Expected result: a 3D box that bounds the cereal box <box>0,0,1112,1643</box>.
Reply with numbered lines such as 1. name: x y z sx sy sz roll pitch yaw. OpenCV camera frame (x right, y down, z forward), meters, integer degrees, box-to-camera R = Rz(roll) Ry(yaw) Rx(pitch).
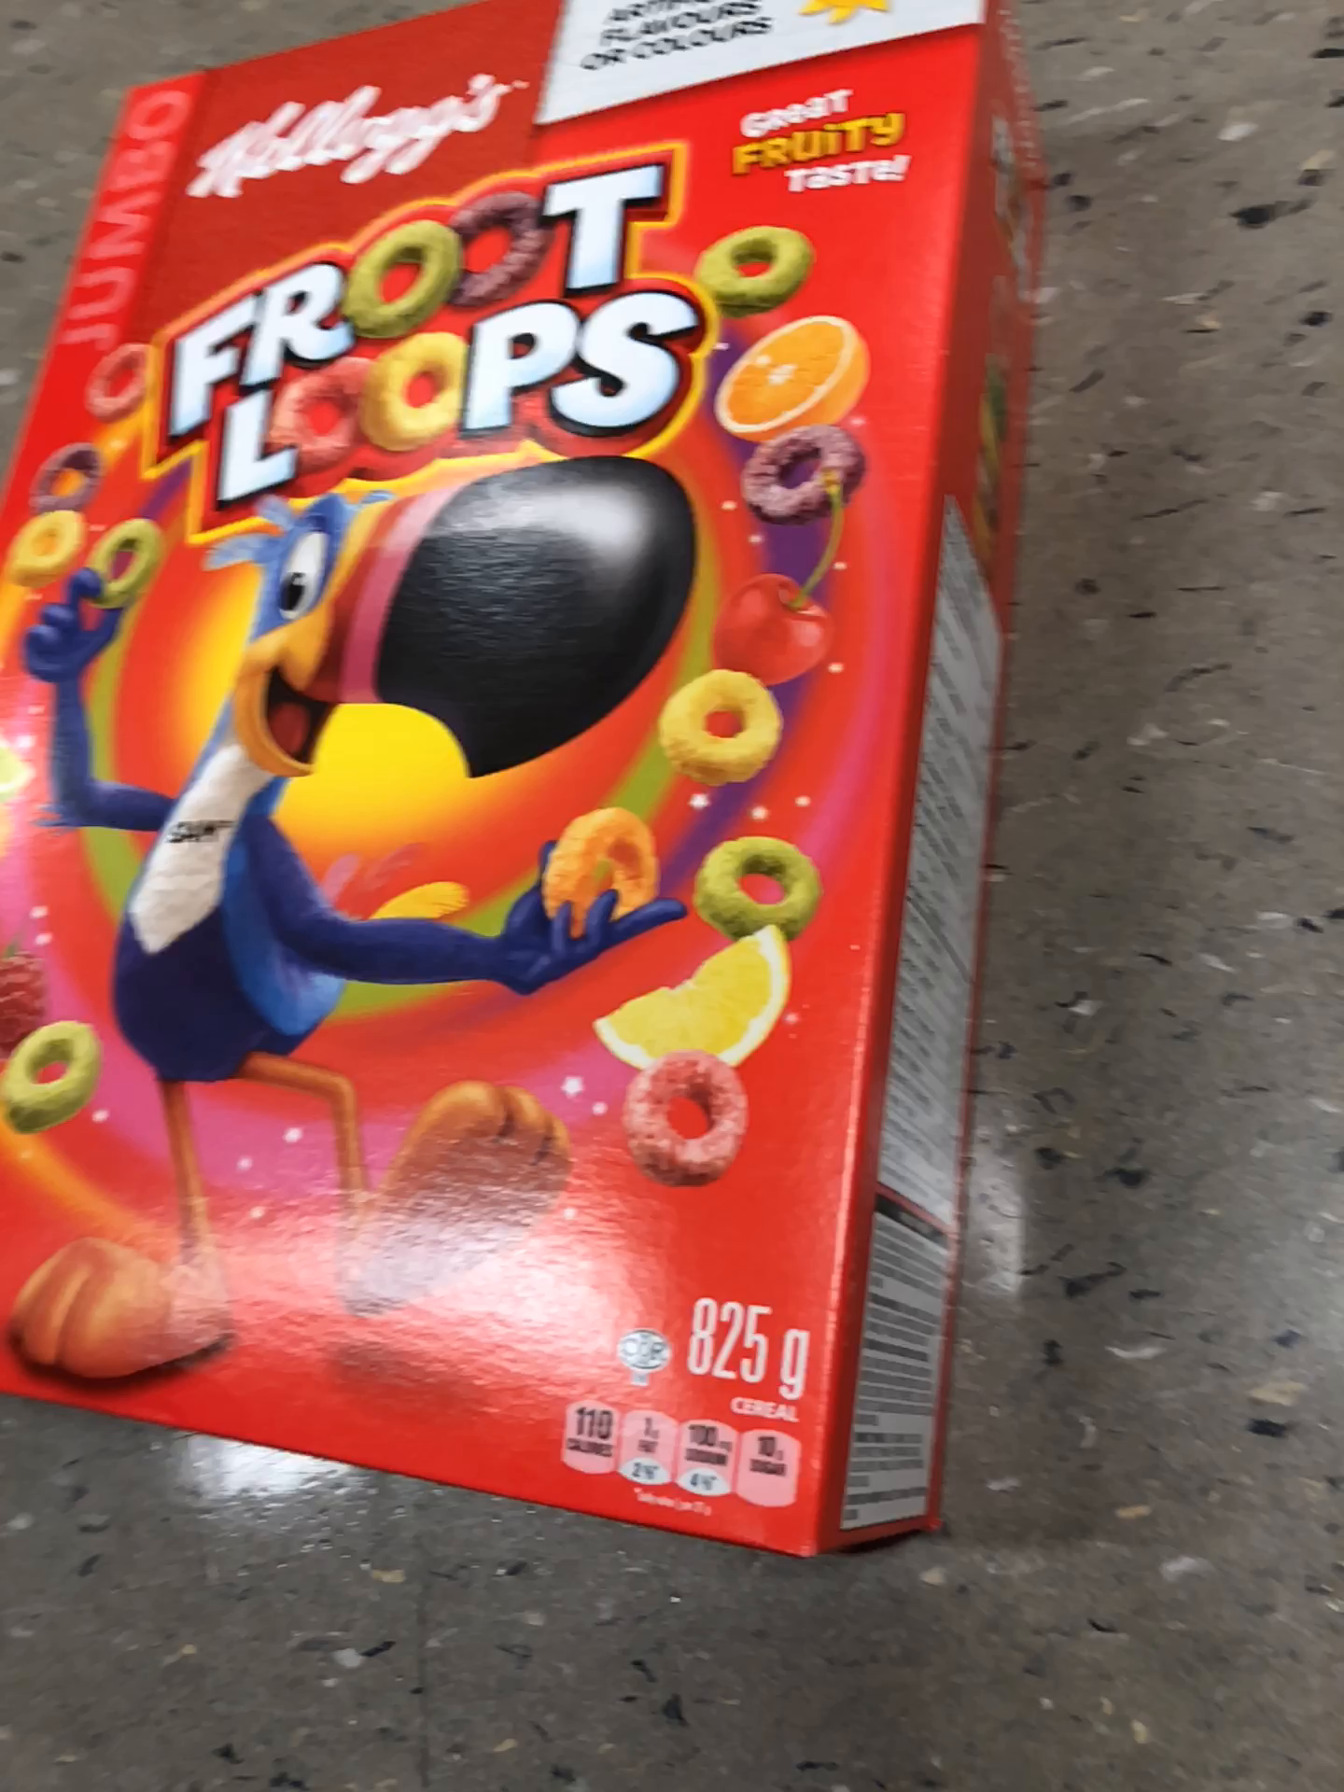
1. cereal box: -0.056 -0.062 0.334 0.270 0.080 0.360 1 70 24
